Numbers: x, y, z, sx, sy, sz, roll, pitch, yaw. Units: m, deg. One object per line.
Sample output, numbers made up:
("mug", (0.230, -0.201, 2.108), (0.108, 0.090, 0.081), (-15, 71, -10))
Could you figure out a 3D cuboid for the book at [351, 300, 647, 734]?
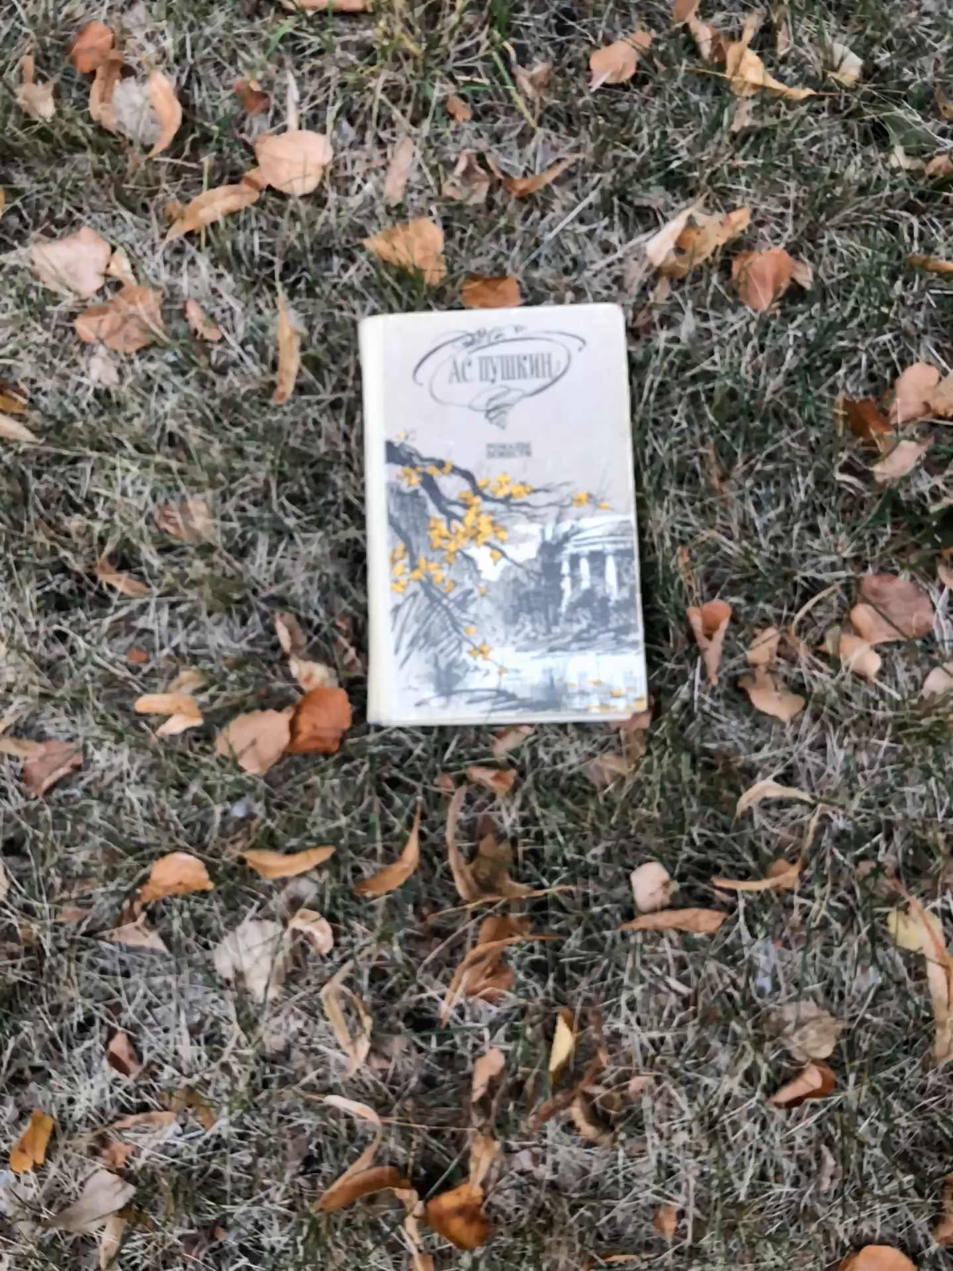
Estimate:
("book", (0.009, -0.060, 0.529), (0.135, 0.021, 0.210), (-2, 83, -1))
